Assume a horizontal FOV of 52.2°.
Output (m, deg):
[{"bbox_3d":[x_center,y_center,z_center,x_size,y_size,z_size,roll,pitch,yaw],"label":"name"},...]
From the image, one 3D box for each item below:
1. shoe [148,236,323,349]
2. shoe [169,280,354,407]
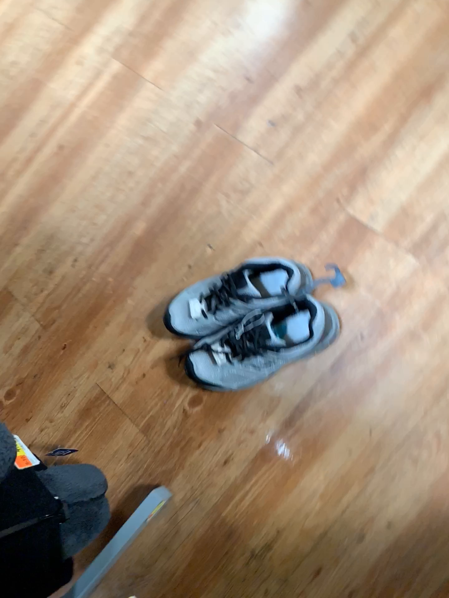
[{"bbox_3d":[0.020,-0.006,0.890,0.307,0.089,0.117,-18,74,13],"label":"shoe"},{"bbox_3d":[0.068,0.091,0.858,0.309,0.099,0.123,-22,73,12],"label":"shoe"}]
